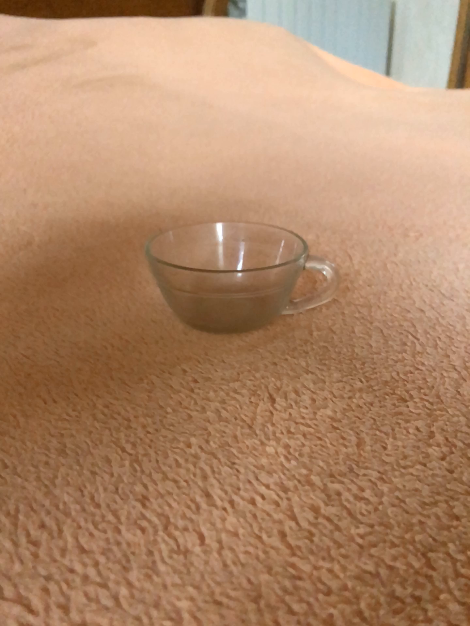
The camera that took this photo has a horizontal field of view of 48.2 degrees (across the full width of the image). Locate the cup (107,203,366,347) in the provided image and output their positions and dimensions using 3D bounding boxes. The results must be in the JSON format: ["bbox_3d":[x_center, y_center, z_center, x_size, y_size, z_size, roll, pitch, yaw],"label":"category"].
[{"bbox_3d":[0.005,-0.025,0.271,0.110,0.040,0.091,2,27,6],"label":"cup"}]
